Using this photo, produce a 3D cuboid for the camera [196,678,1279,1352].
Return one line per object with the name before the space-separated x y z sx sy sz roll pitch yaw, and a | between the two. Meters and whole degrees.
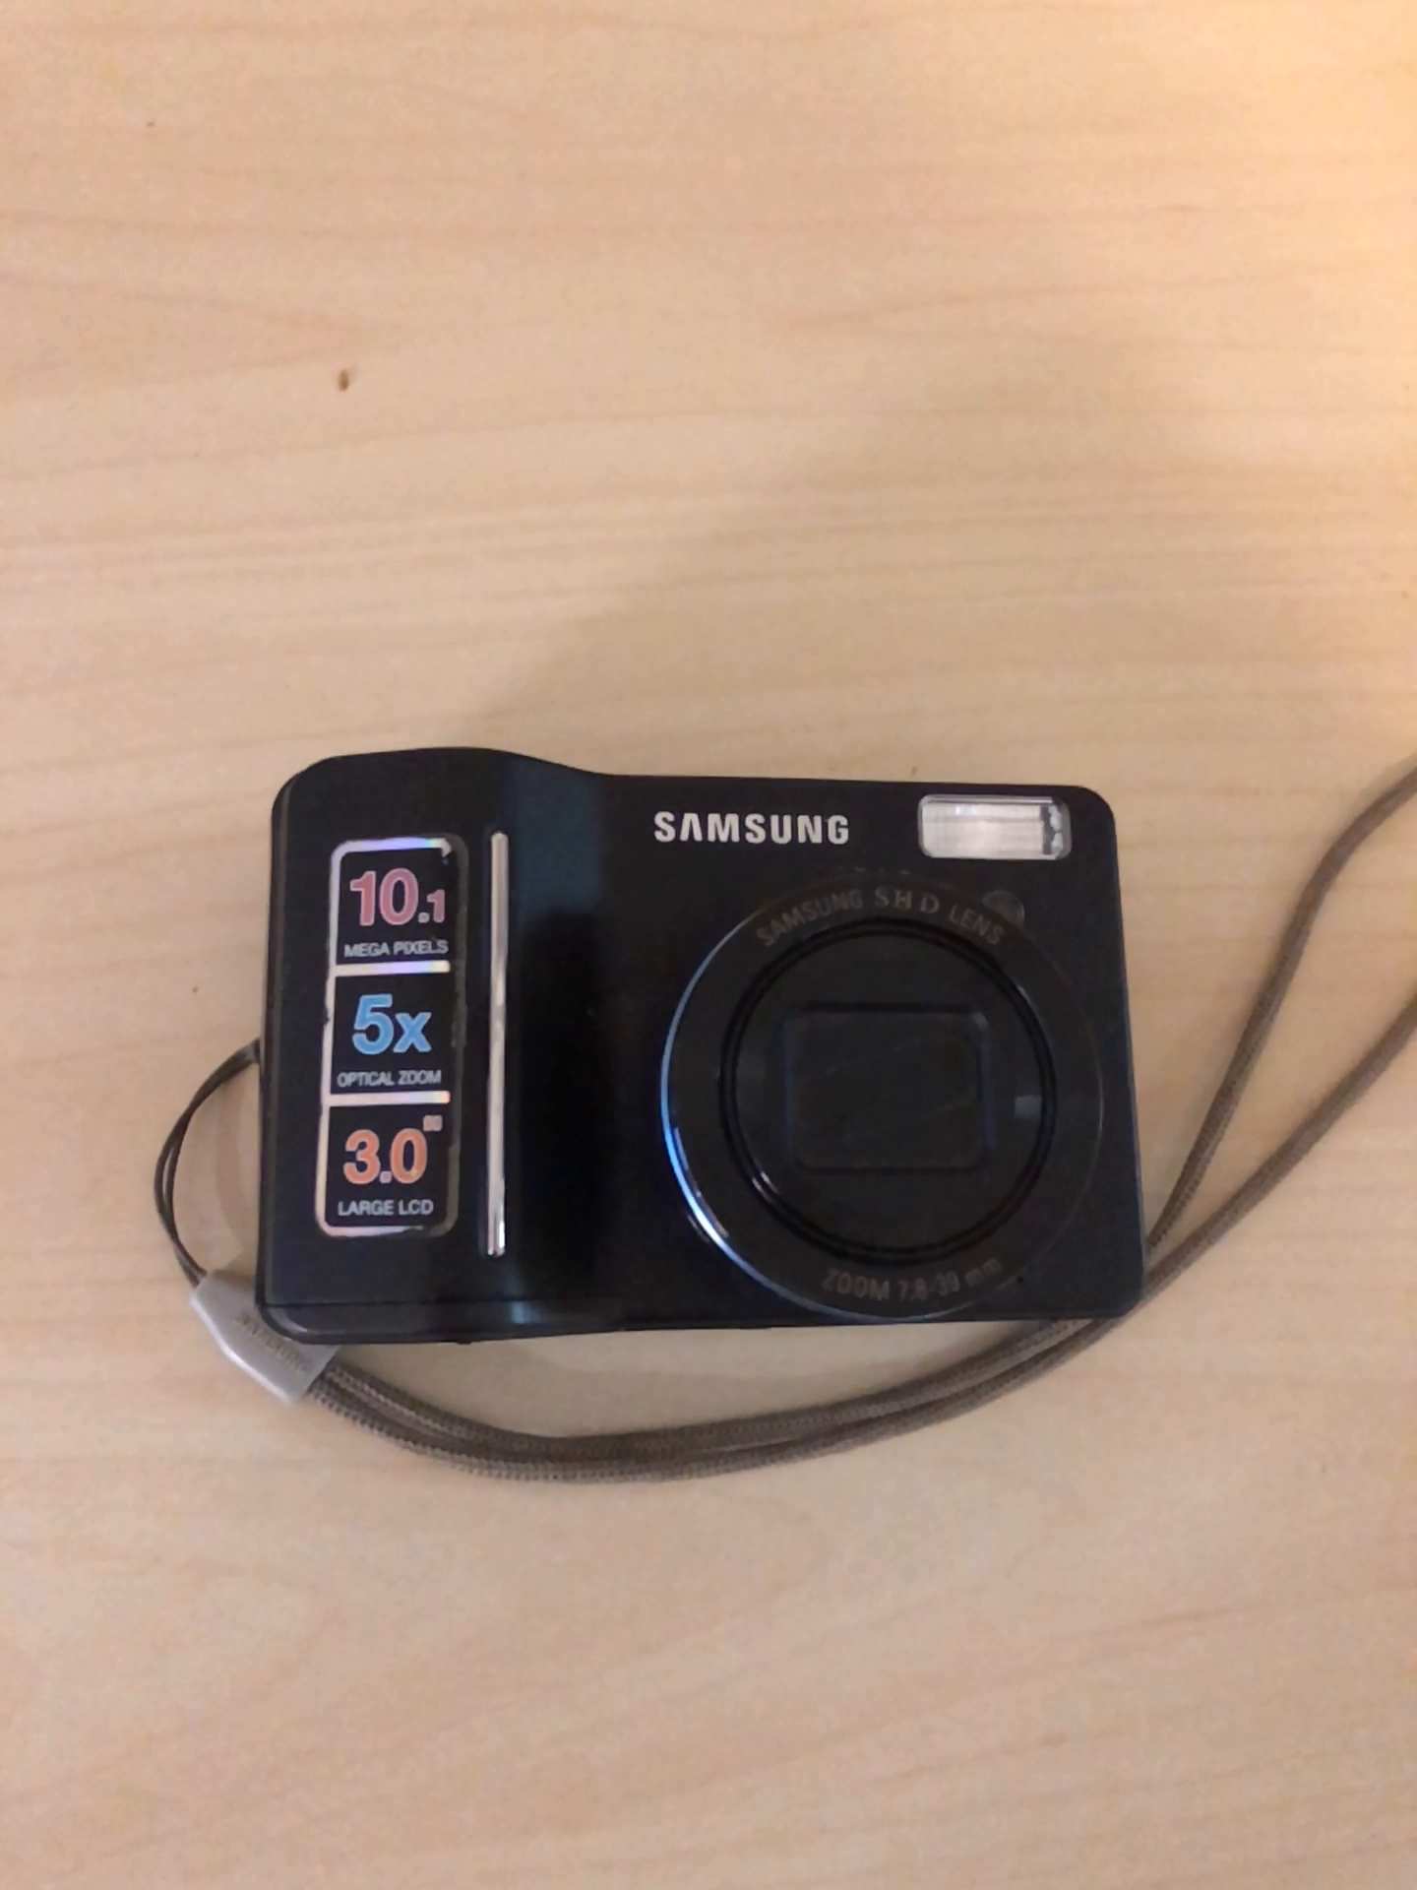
camera | 0.003 0.009 0.182 0.110 0.030 0.070 1 77 -5
